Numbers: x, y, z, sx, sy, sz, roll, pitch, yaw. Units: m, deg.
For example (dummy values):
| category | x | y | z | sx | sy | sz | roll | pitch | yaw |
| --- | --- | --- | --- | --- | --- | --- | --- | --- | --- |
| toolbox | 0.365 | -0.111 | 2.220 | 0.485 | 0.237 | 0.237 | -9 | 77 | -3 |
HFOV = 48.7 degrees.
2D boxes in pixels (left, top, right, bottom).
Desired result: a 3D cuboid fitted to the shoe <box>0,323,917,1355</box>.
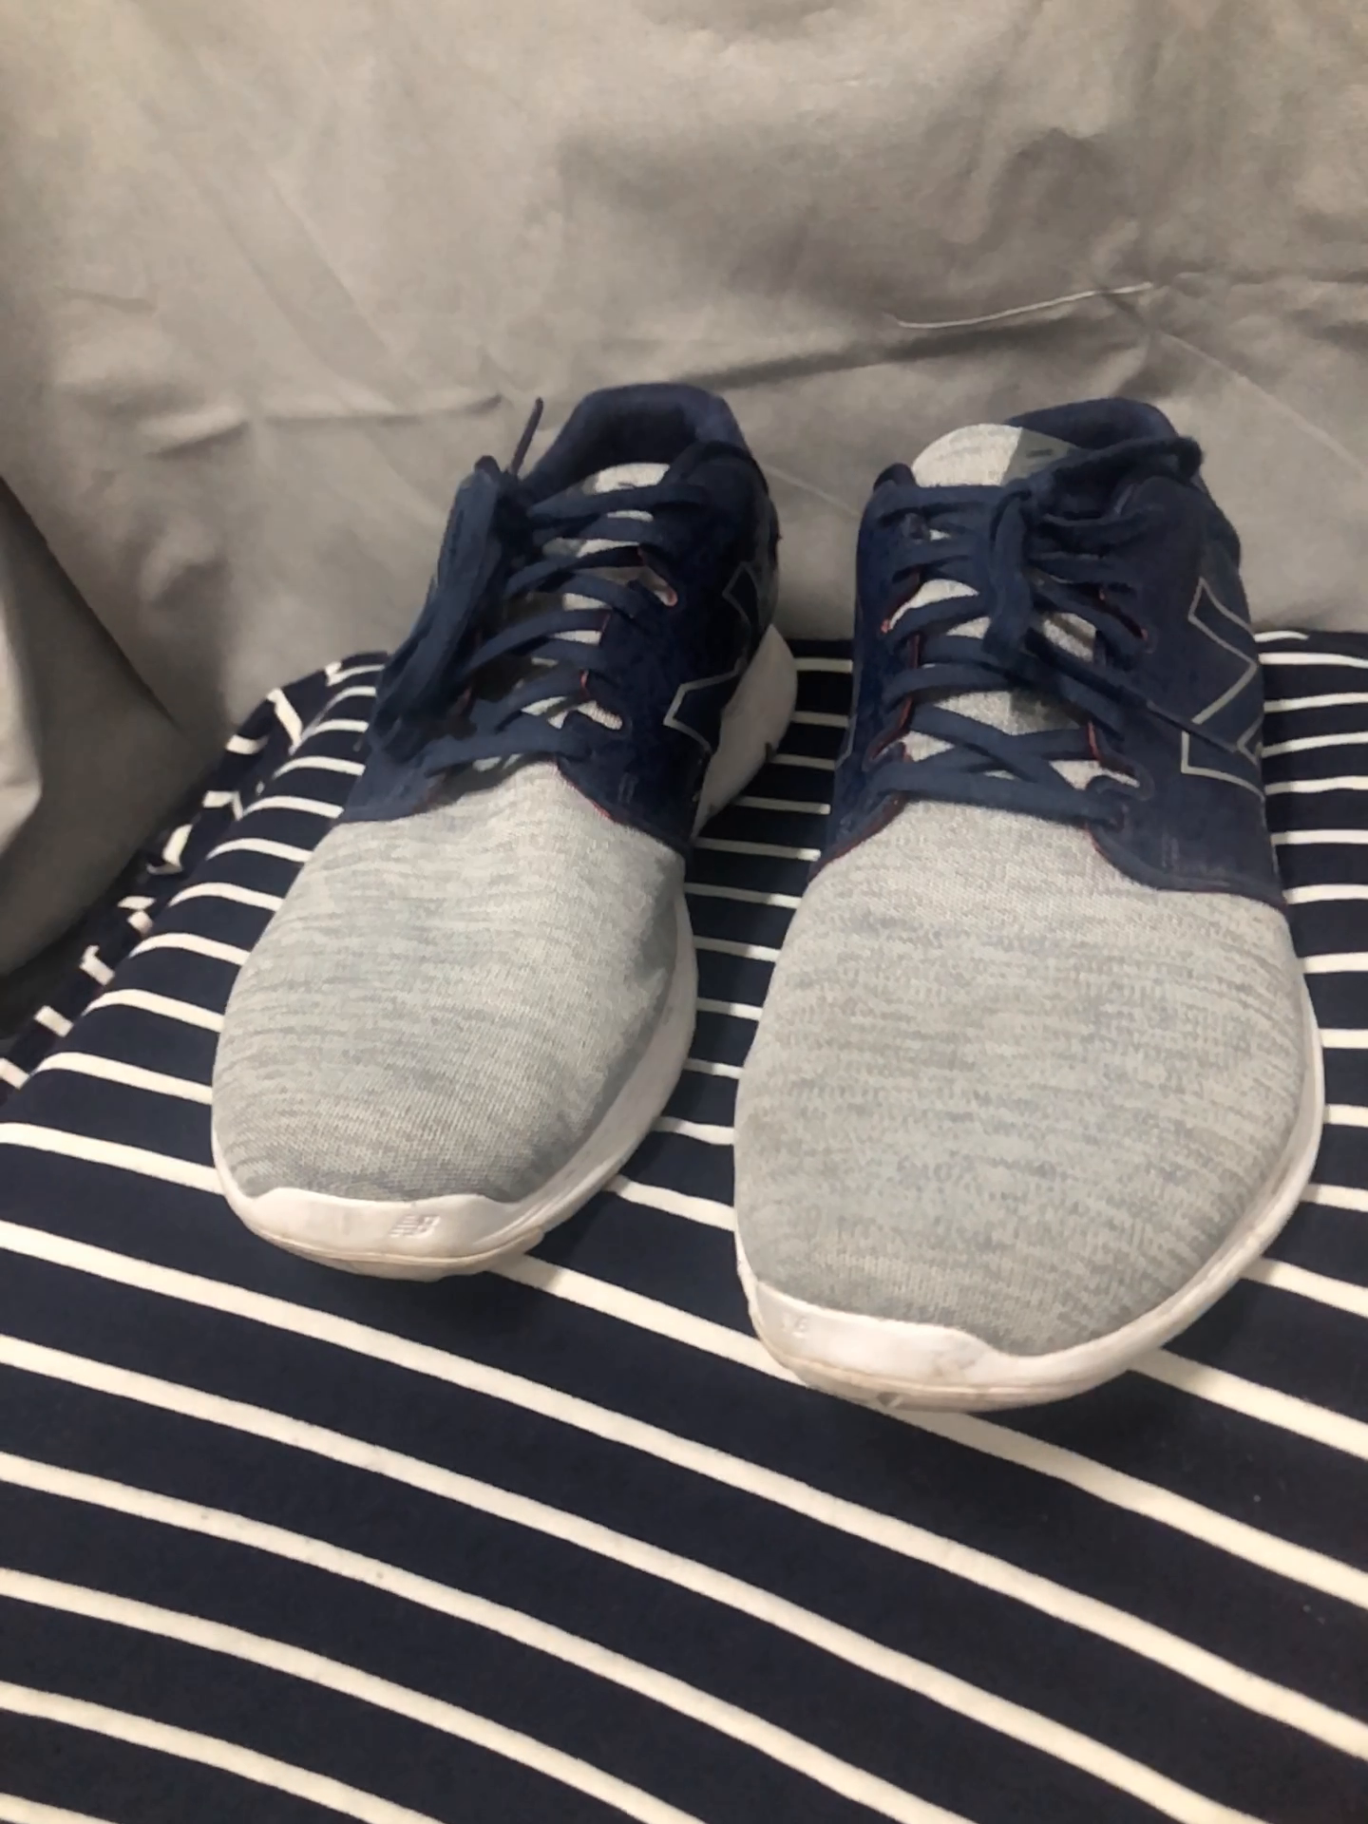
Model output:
| category | x | y | z | sx | sy | sz | roll | pitch | yaw |
| --- | --- | --- | --- | --- | --- | --- | --- | --- | --- |
| shoe | -0.031 | -0.056 | 0.385 | 0.120 | 0.089 | 0.322 | 5 | 37 | 18 |

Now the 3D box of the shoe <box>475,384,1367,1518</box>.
| category | x | y | z | sx | sy | sz | roll | pitch | yaw |
| --- | --- | --- | --- | --- | --- | --- | --- | --- | --- |
| shoe | 0.072 | -0.026 | 0.312 | 0.120 | 0.079 | 0.262 | 5 | 37 | 18 |
